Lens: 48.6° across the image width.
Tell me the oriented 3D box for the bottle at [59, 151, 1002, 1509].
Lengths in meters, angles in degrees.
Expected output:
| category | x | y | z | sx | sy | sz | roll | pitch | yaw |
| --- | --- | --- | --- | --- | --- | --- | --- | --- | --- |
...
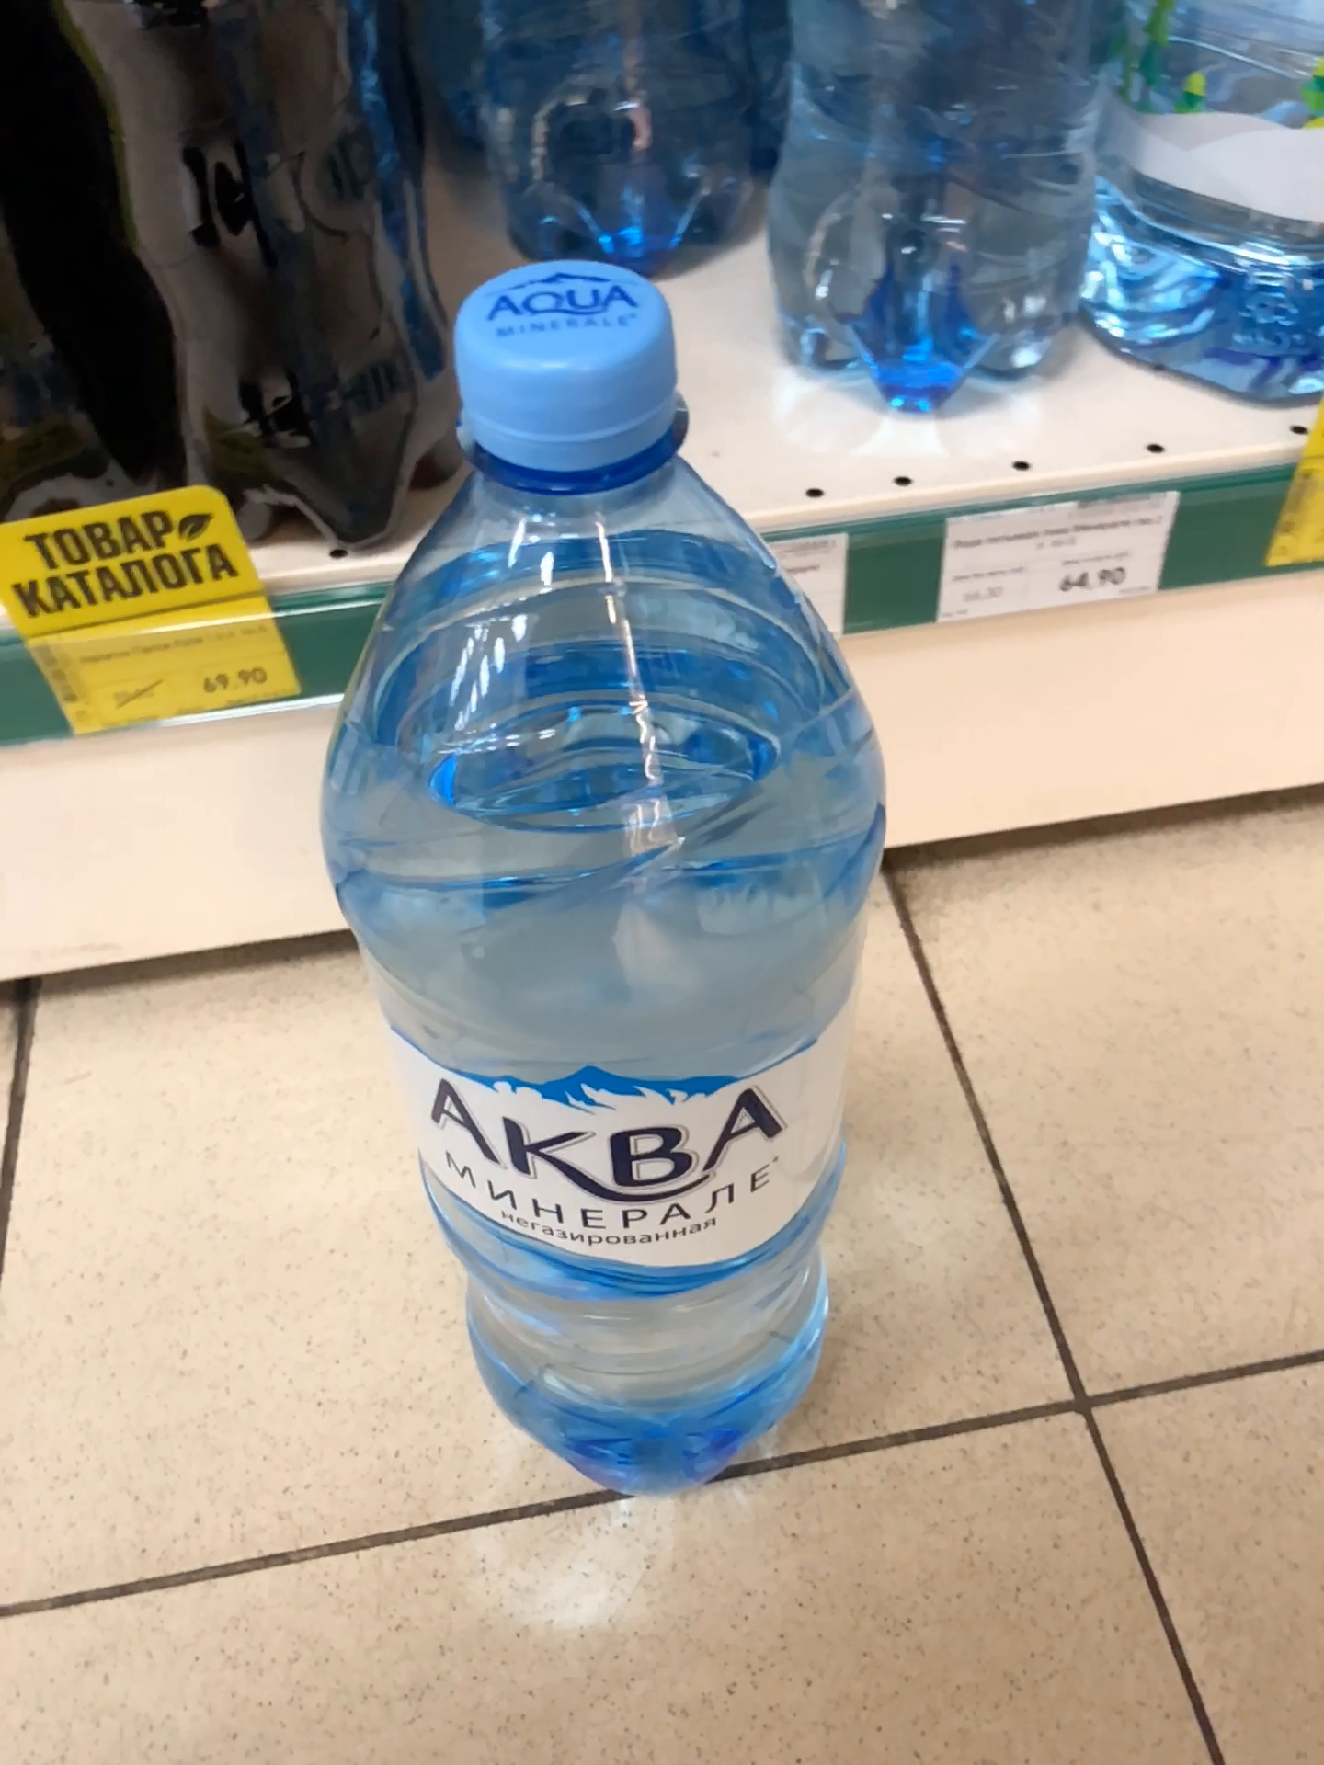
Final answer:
| category | x | y | z | sx | sy | sz | roll | pitch | yaw |
| --- | --- | --- | --- | --- | --- | --- | --- | --- | --- |
| bottle | -0.010 | 0.031 | 0.313 | 0.105 | 0.323 | 0.089 | -2 | 48 | 1 |
